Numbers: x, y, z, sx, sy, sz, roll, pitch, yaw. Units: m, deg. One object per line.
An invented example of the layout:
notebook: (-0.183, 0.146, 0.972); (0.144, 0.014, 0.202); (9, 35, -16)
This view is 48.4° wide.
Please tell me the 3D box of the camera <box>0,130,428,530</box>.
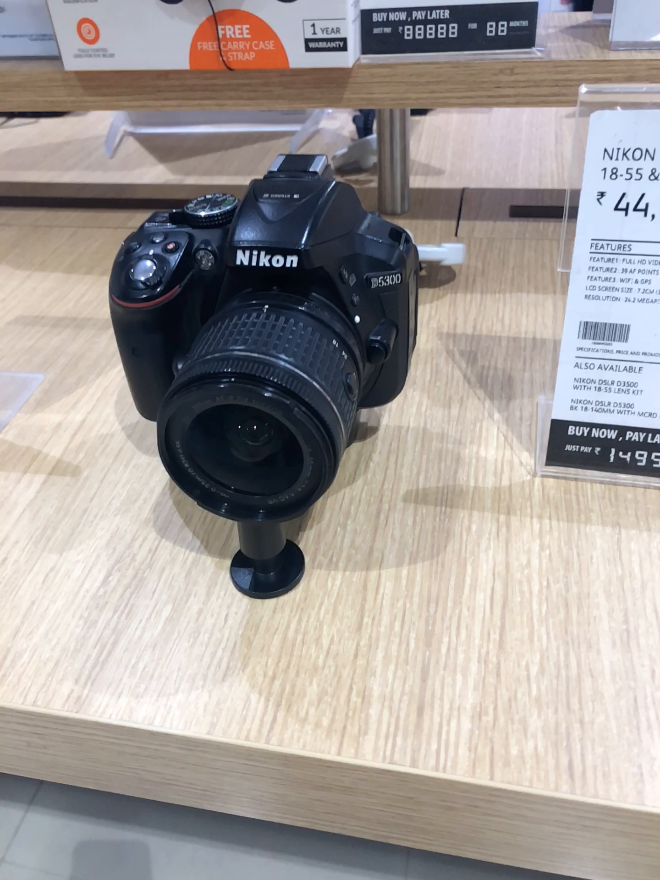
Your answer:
camera: (-0.038, -0.053, 0.265); (0.130, 0.070, 0.151); (4, 39, 11)
